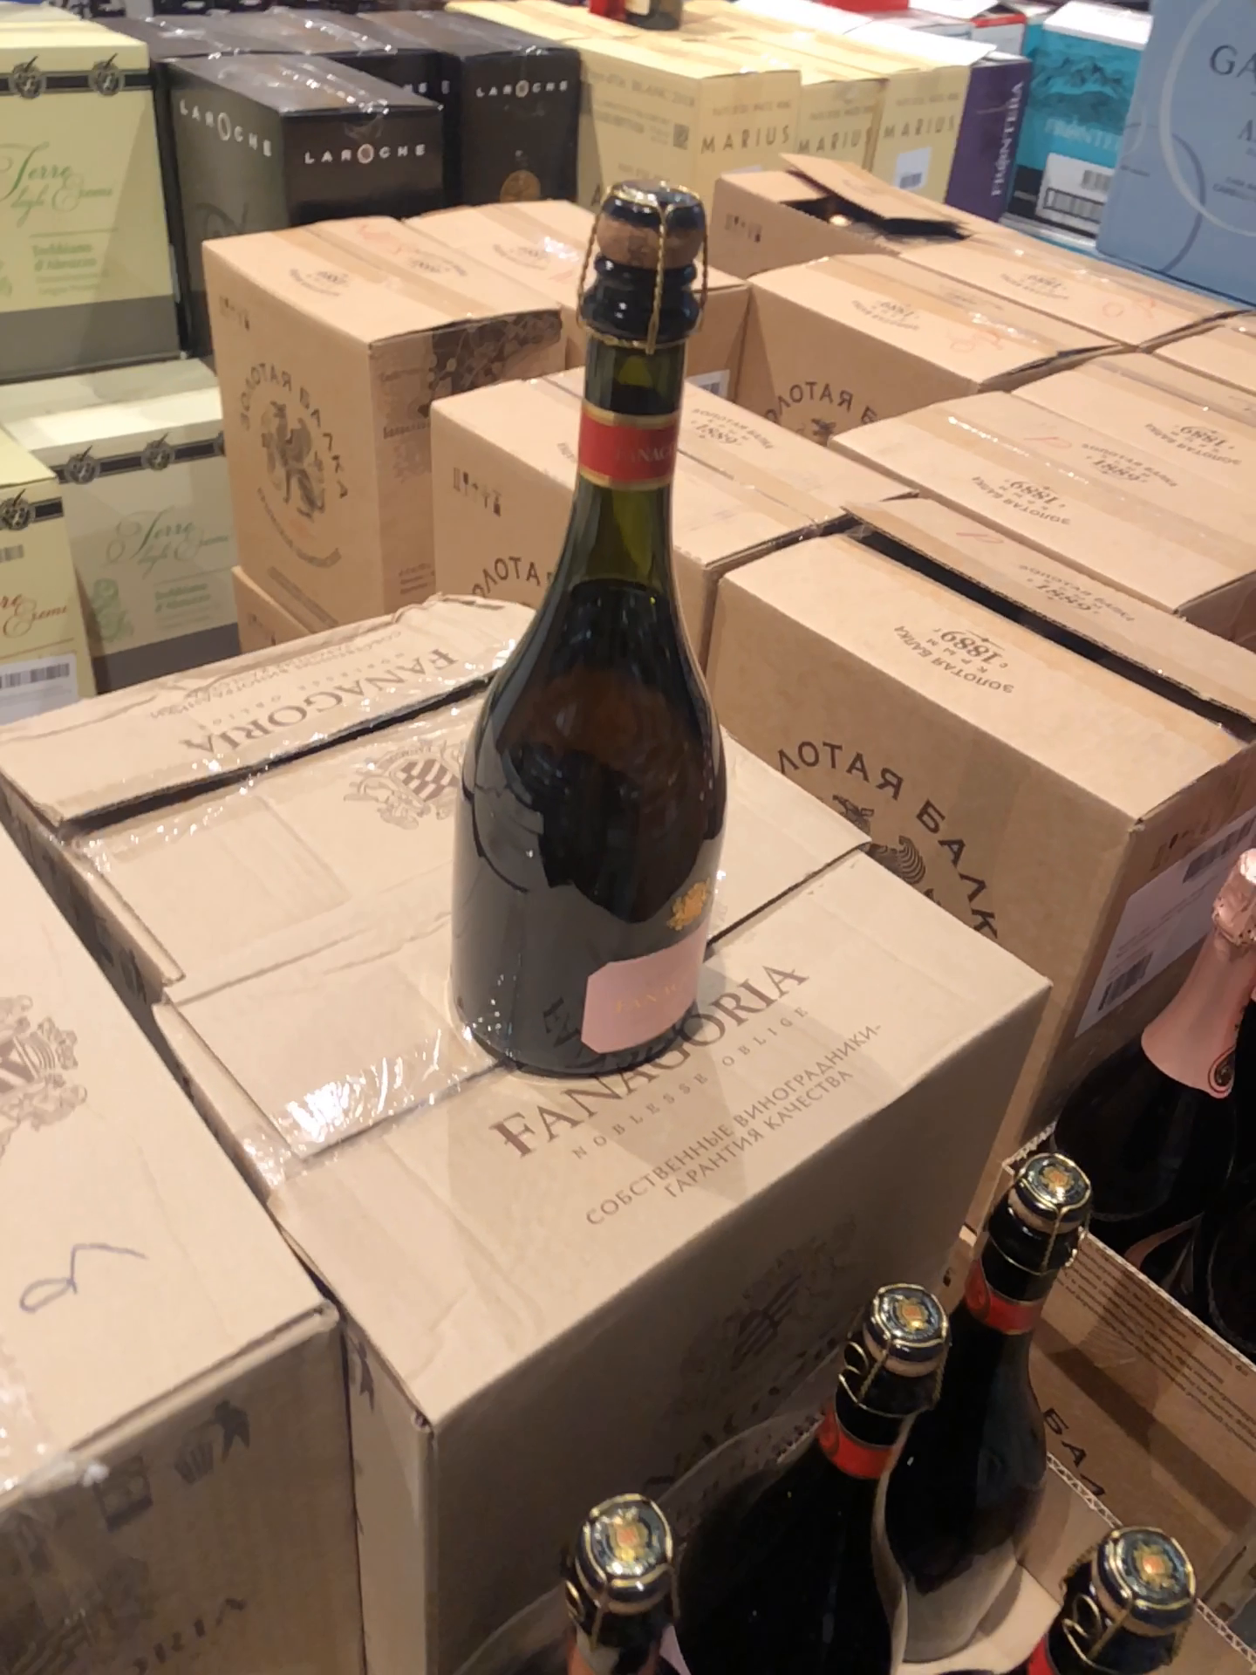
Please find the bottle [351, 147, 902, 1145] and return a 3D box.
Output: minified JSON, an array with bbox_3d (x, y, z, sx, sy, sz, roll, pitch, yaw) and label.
[{"bbox_3d":[-0.009,-0.052,0.463,0.100,0.298,0.110,34,47,31],"label":"bottle"}]
